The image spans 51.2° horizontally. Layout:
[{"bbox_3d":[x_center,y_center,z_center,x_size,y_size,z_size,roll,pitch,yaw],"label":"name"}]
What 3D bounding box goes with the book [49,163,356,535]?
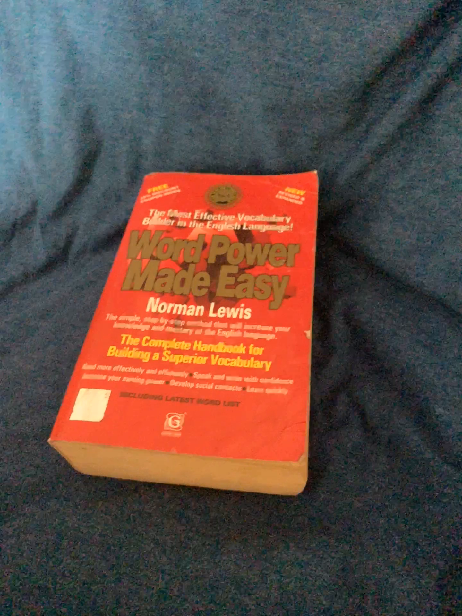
[{"bbox_3d":[0.000,0.008,0.268,0.120,0.050,0.191,7,57,8],"label":"book"}]
